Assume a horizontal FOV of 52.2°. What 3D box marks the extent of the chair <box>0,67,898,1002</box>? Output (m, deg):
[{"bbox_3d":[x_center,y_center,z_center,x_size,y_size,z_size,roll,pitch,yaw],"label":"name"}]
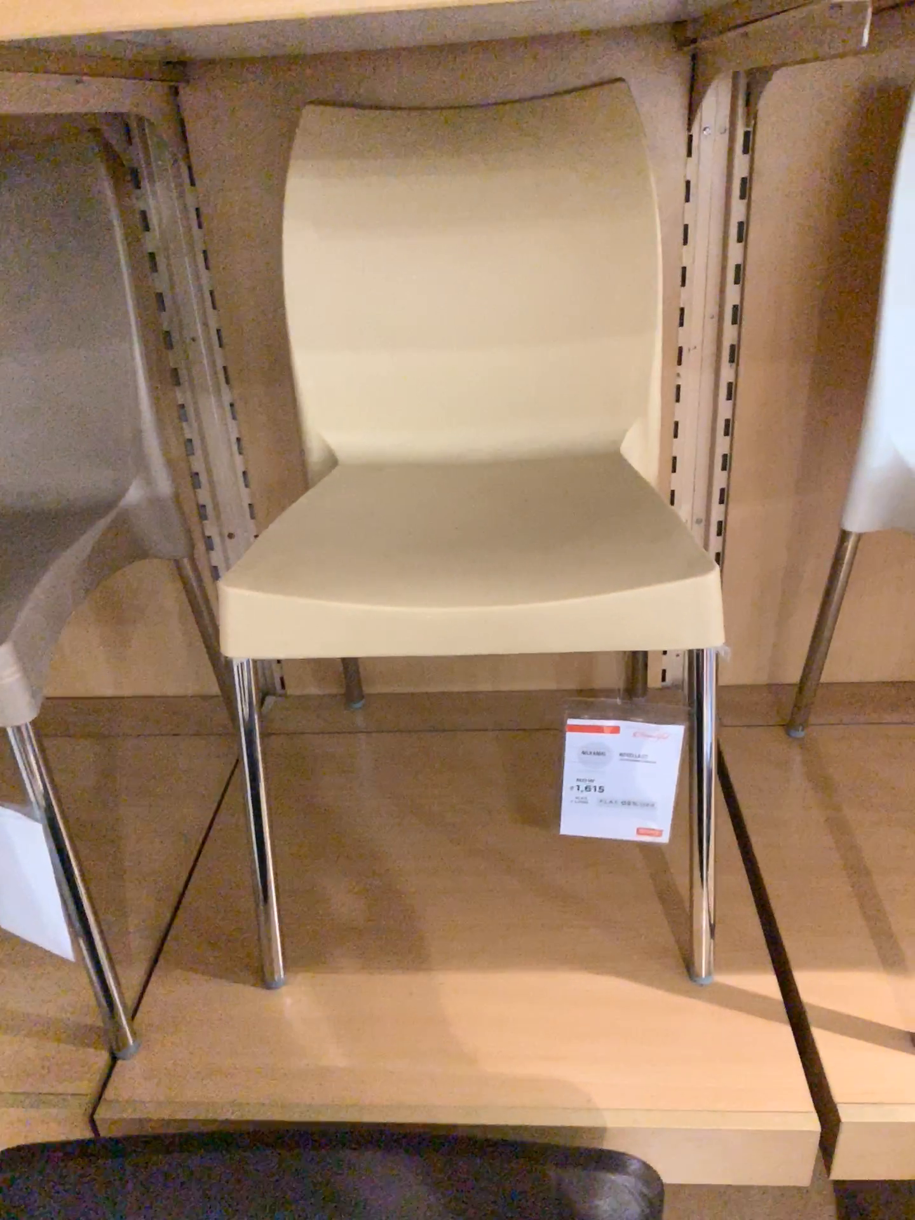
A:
[{"bbox_3d":[0.003,-0.104,1.007,0.540,0.806,0.593,-1,28,2],"label":"chair"}]
